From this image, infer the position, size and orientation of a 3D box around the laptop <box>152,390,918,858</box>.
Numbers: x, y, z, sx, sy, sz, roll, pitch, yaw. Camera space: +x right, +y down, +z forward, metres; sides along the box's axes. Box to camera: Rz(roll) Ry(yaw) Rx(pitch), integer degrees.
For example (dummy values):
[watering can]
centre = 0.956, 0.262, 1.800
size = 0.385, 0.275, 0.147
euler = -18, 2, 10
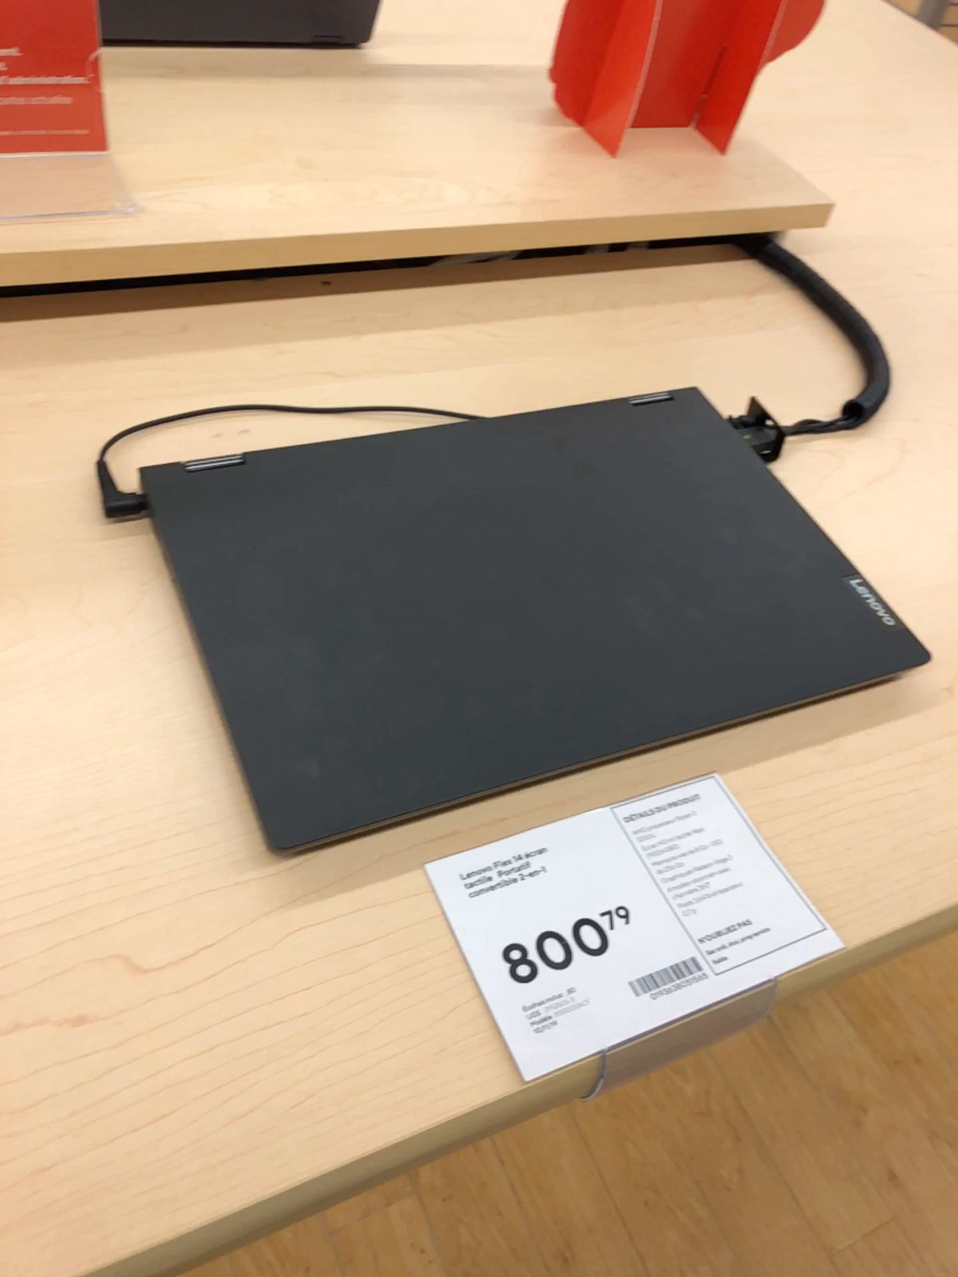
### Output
[laptop]
centre = 0.030, -0.034, 0.516
size = 0.326, 0.009, 0.212
euler = -13, 54, -24
